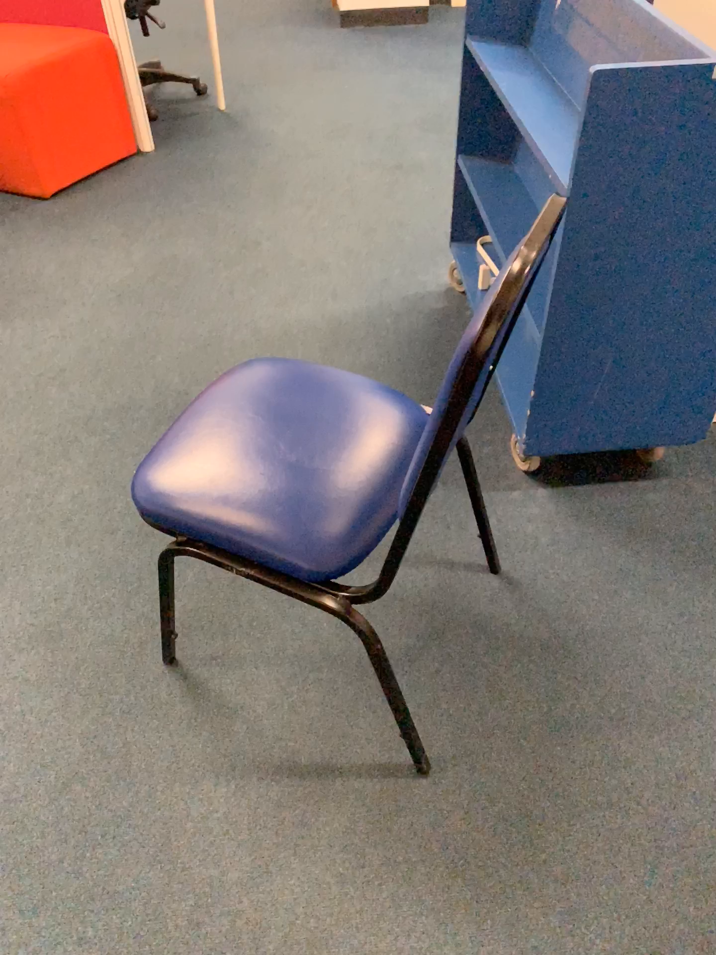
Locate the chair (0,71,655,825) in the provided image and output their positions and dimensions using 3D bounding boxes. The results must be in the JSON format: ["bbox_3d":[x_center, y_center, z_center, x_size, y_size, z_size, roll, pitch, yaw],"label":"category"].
[{"bbox_3d":[-0.005,-0.025,1.125,0.581,0.882,0.564,17,48,19],"label":"chair"}]
